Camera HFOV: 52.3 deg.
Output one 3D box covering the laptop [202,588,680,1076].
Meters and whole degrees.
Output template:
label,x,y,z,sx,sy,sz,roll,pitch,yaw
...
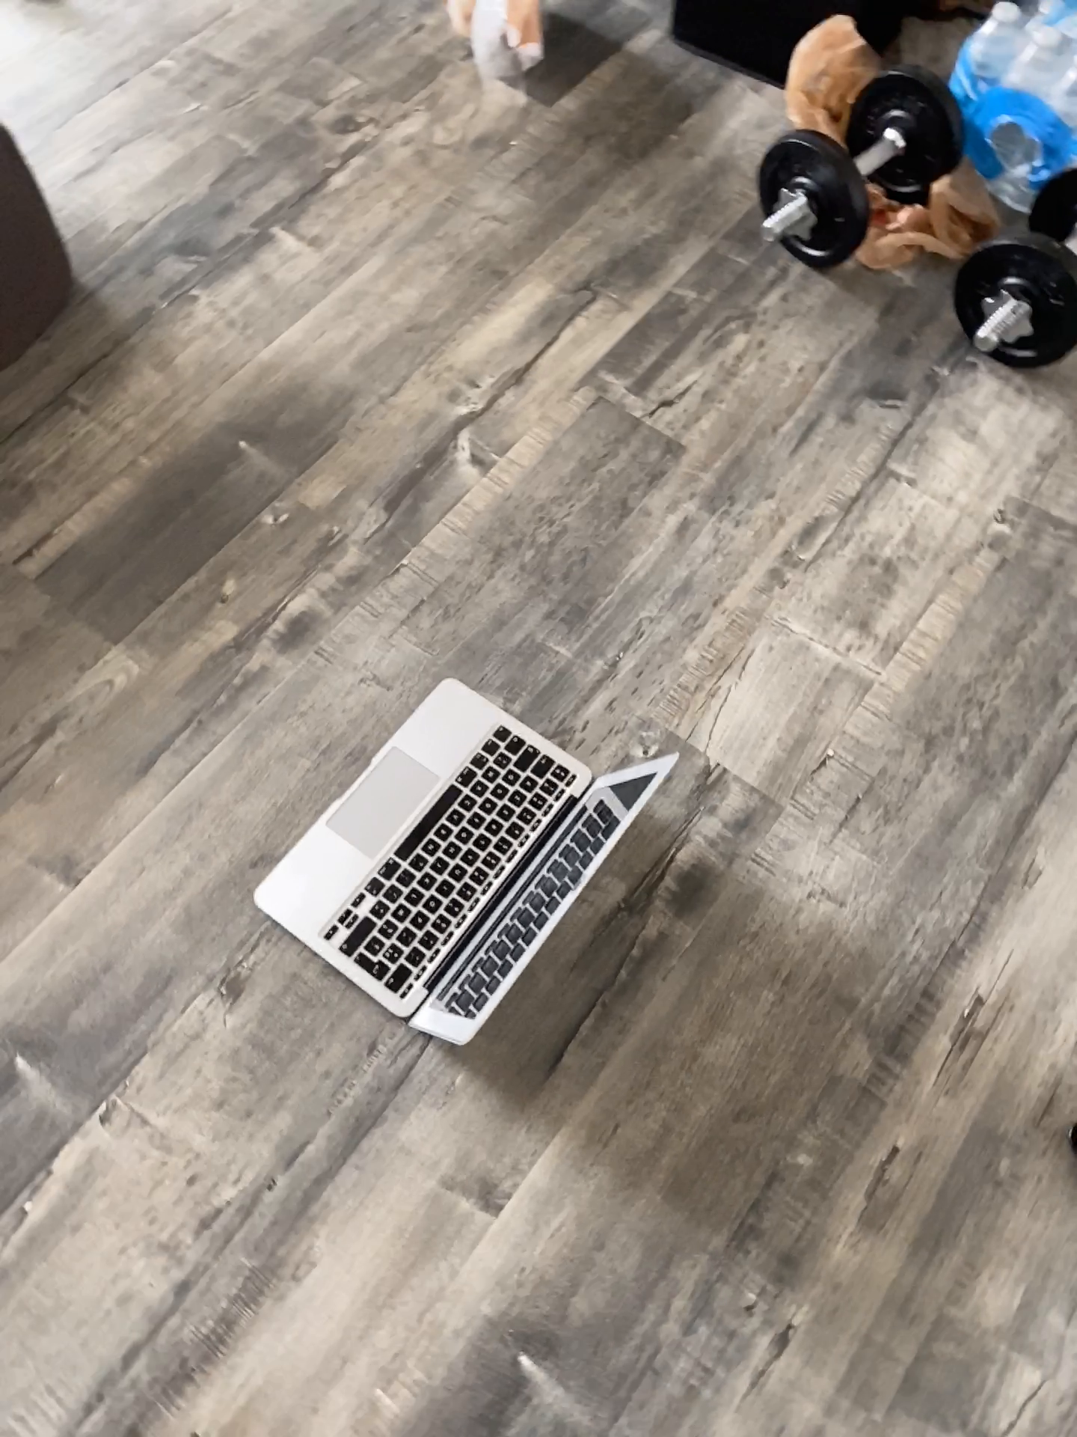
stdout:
label,x,y,z,sx,sy,sz,roll,pitch,yaw
laptop,-0.074,0.096,0.947,0.254,0.160,0.290,35,68,13
